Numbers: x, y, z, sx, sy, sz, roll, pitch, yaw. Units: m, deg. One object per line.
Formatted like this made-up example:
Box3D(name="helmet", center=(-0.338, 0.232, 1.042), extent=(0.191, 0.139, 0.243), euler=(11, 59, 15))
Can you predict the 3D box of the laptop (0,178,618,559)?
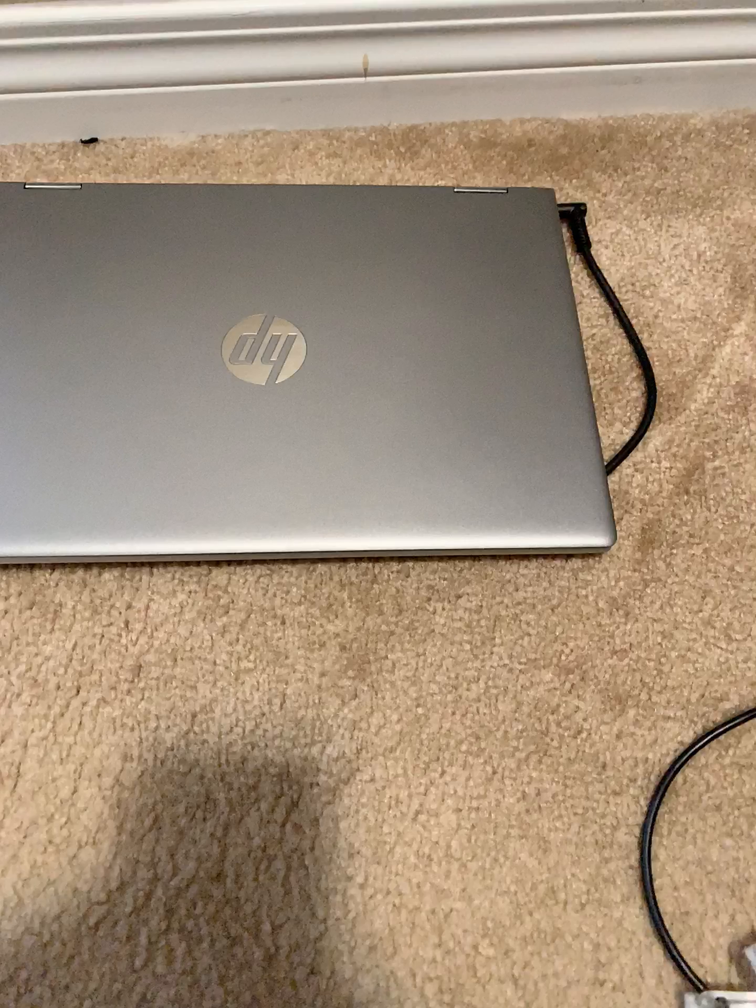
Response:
Box3D(name="laptop", center=(-0.054, -0.080, 0.386), extent=(0.319, 0.001, 0.222), euler=(-1, 63, -5))
